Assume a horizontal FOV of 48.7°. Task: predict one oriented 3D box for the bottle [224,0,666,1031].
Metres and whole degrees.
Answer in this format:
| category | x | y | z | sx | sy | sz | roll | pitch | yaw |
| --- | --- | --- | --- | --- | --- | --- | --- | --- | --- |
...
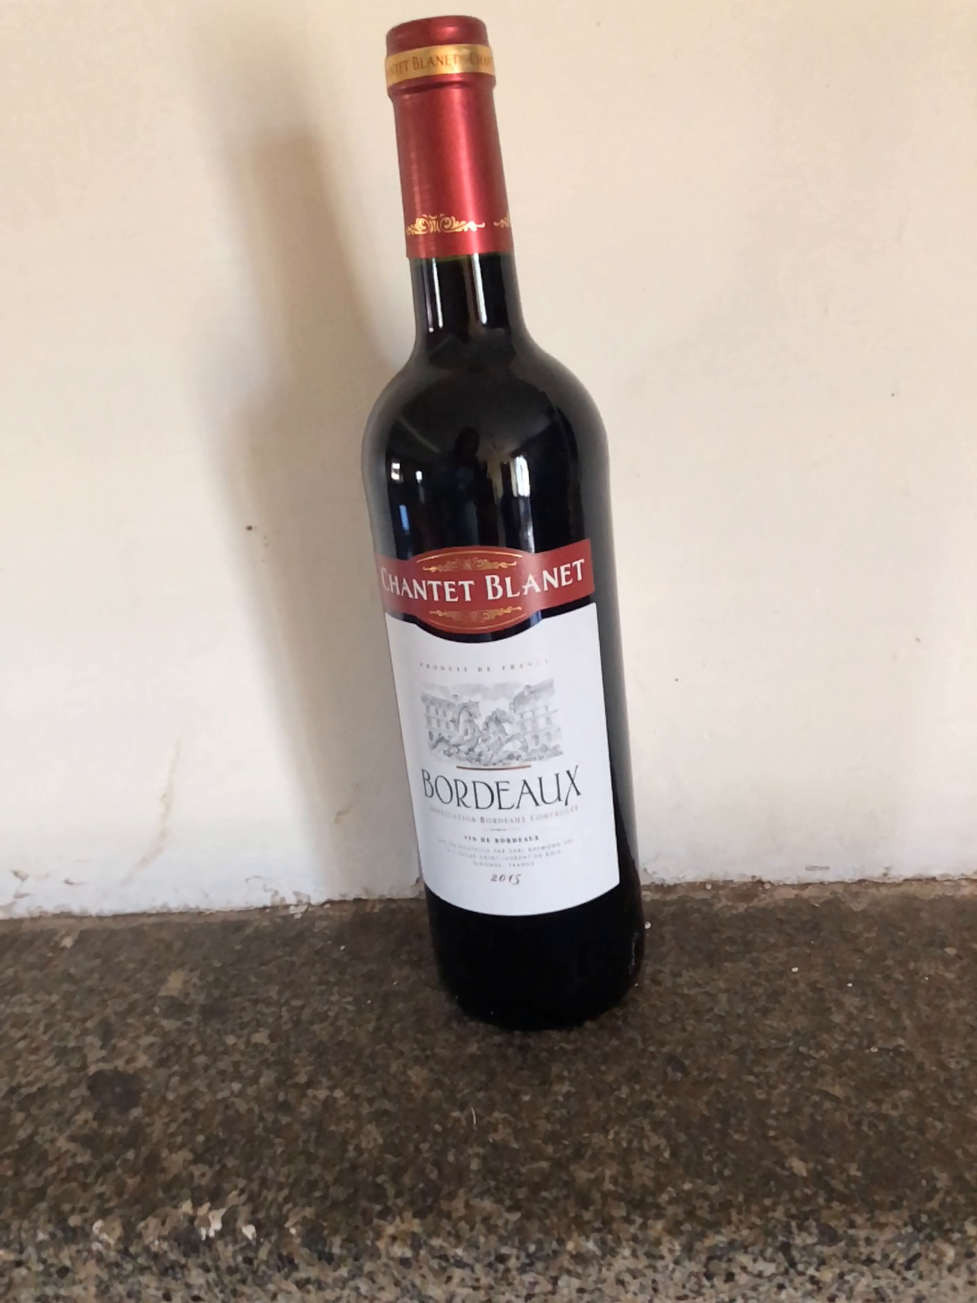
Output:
| category | x | y | z | sx | sy | sz | roll | pitch | yaw |
| --- | --- | --- | --- | --- | --- | --- | --- | --- | --- |
| bottle | 0.001 | -0.033 | 0.328 | 0.080 | 0.289 | 0.080 | -7 | 18 | 2 |
